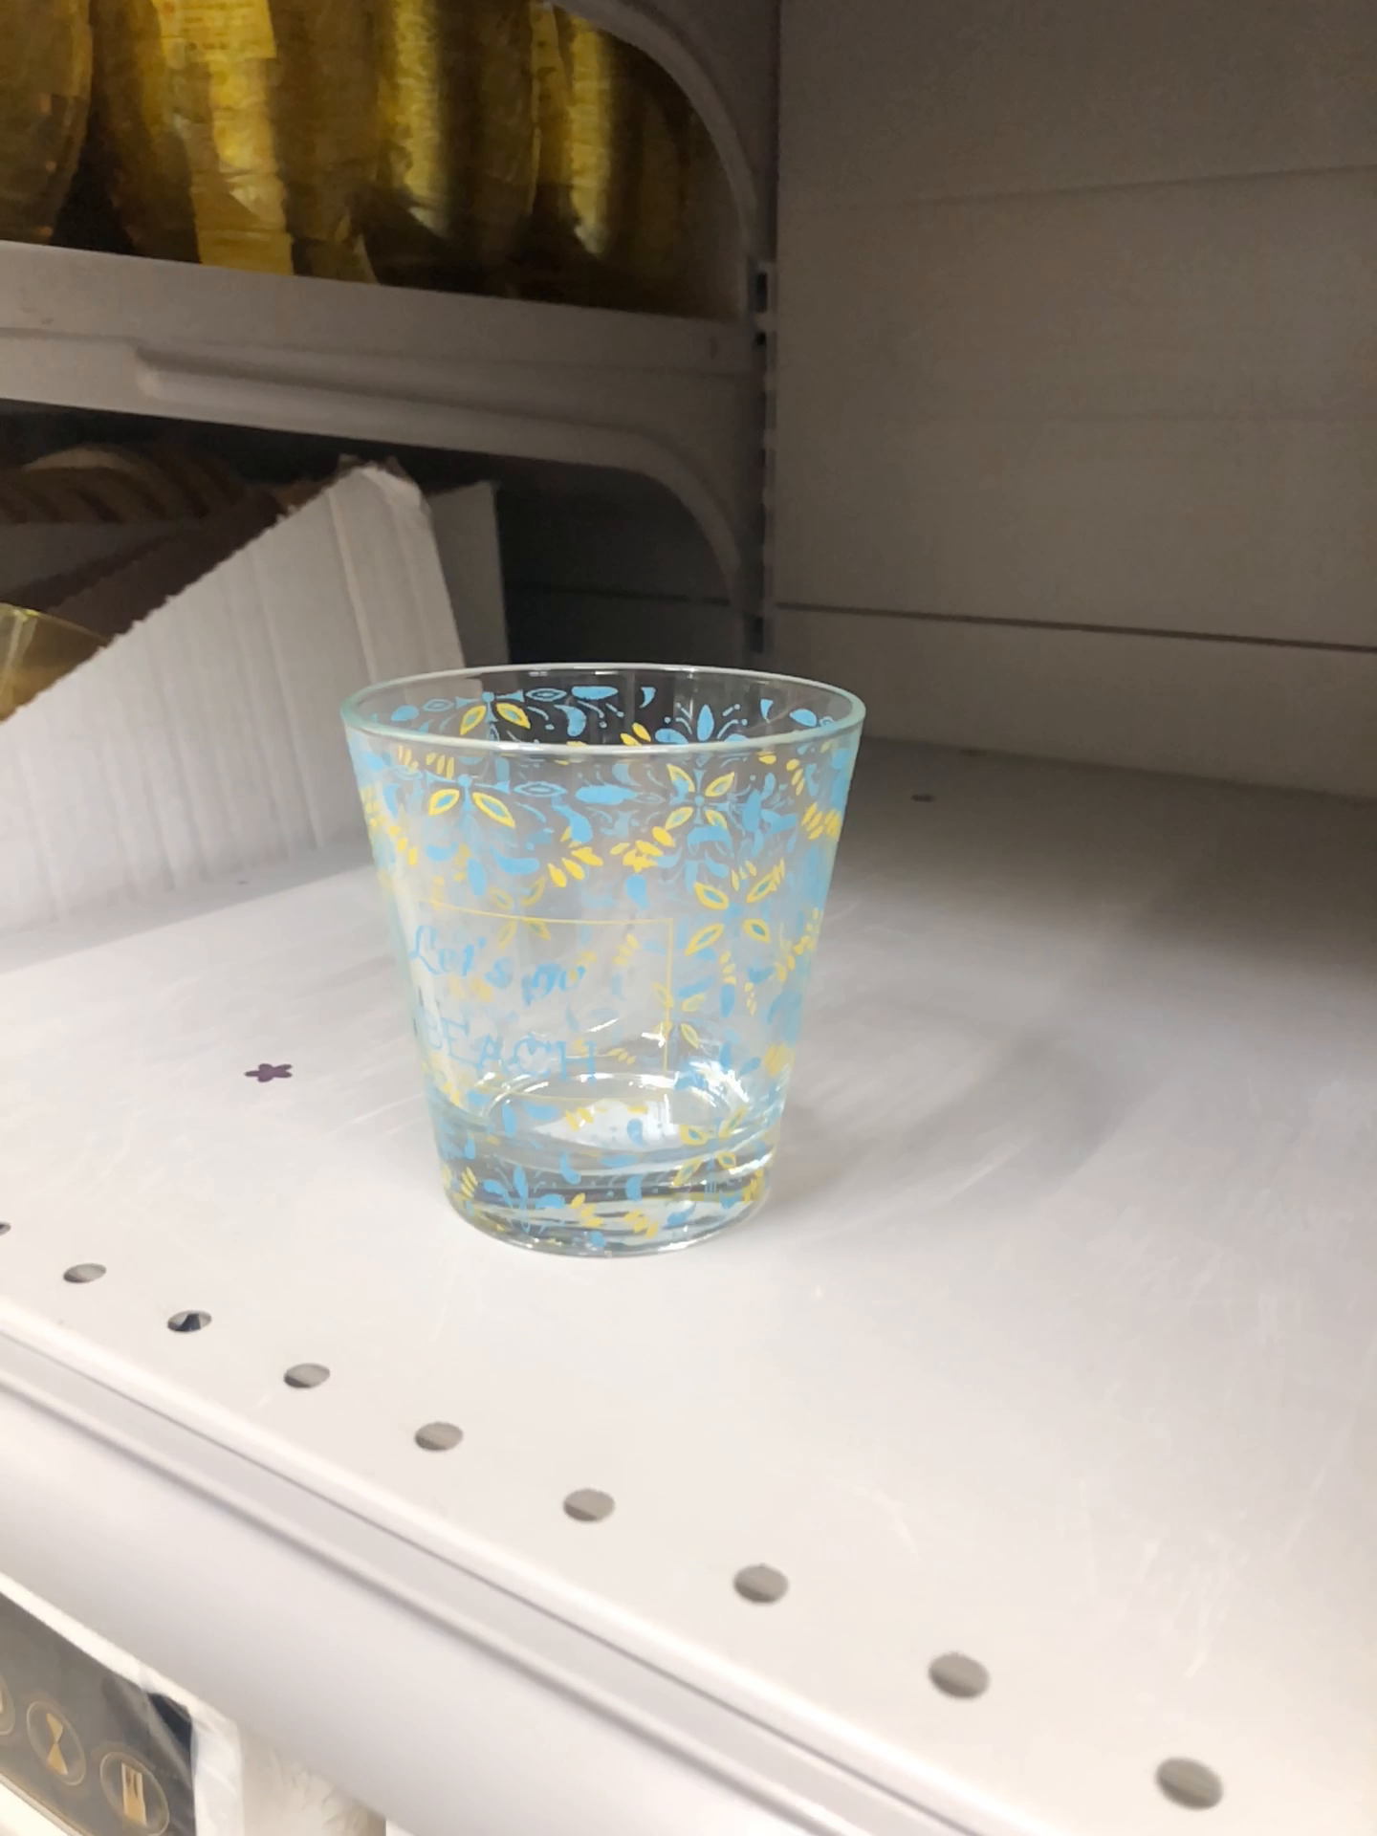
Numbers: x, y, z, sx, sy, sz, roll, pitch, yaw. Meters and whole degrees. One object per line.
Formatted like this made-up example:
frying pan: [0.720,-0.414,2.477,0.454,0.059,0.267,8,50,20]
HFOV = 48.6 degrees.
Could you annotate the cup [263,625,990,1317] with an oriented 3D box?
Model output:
cup: [-0.005,0.000,0.259,0.088,0.080,0.084,0,20,0]
